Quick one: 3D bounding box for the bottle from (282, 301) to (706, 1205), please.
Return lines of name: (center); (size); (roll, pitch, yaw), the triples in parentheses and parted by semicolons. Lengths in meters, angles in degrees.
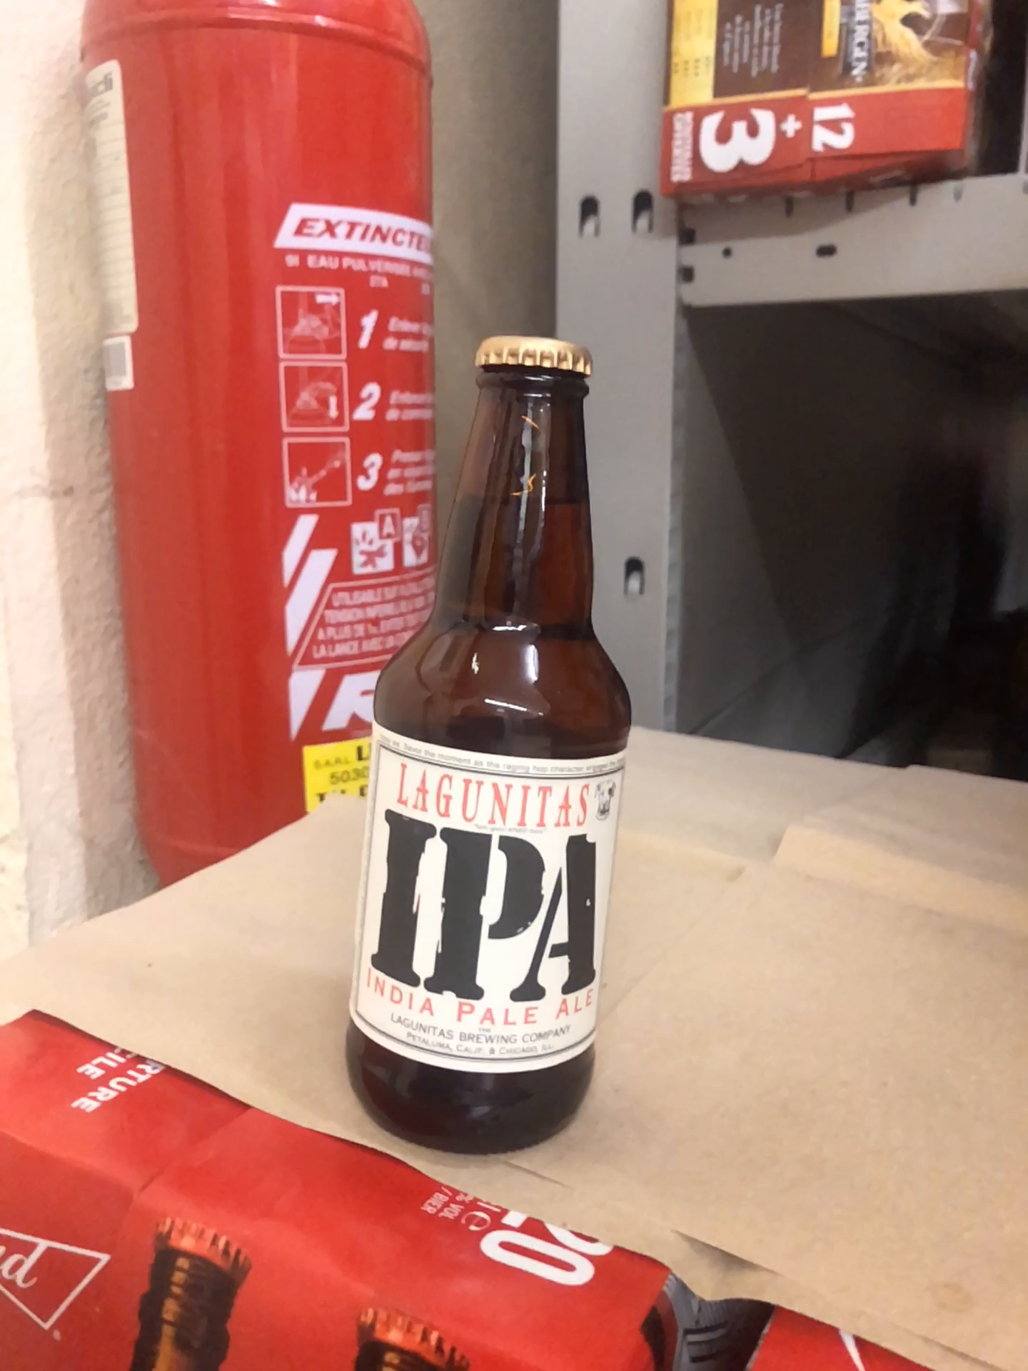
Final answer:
bottle: (-0.008, 0.014, 0.289); (0.080, 0.199, 0.080); (4, 12, -1)
